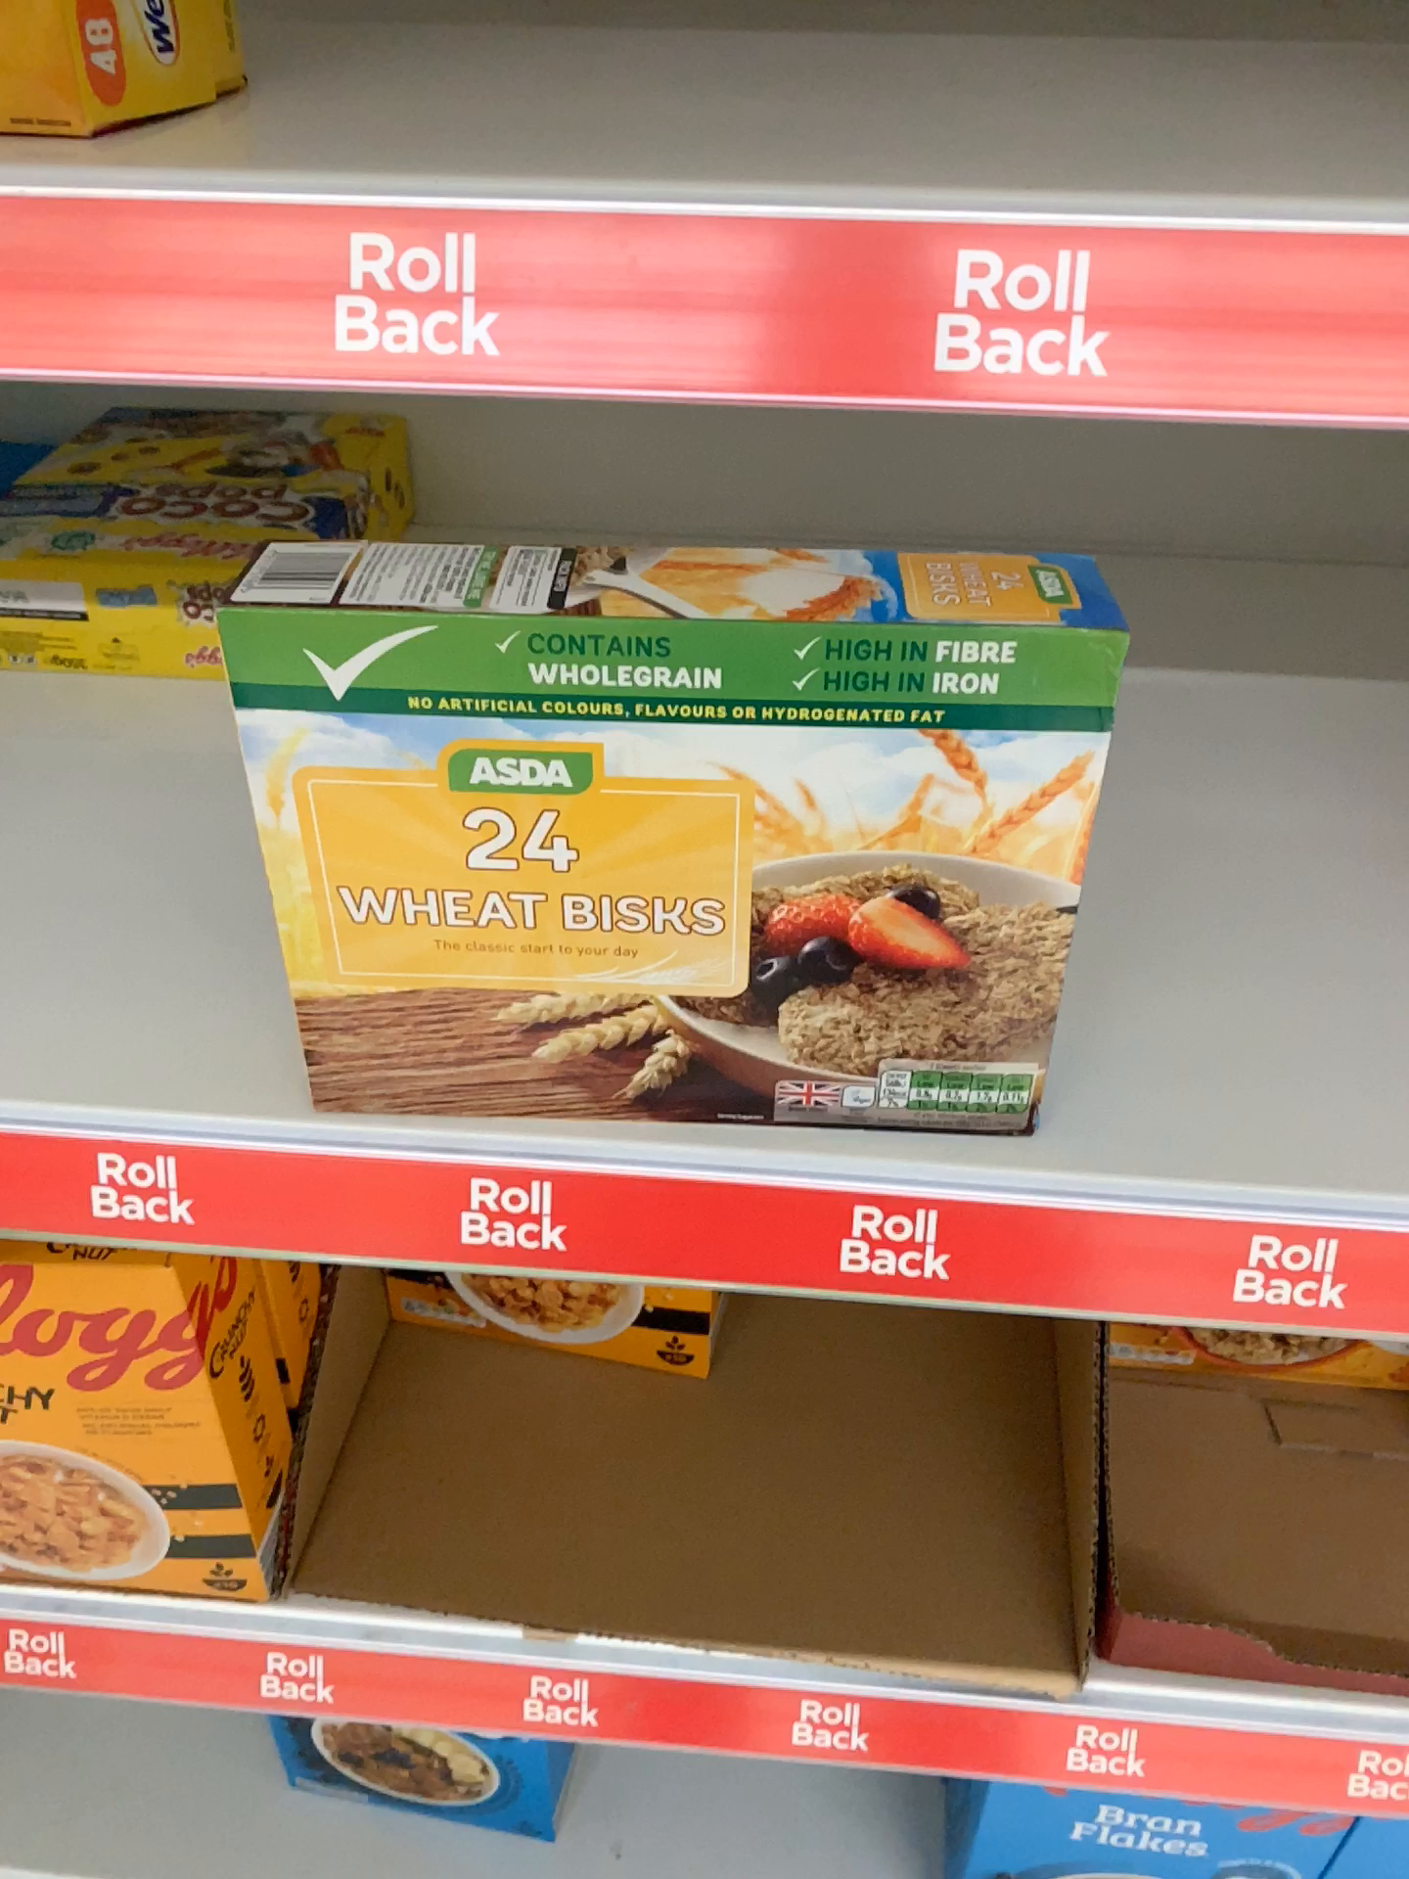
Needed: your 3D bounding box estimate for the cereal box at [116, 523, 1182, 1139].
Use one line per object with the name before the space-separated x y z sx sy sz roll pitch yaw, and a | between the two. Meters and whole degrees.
cereal box | -0.015 -0.027 0.444 0.270 0.178 0.061 1 37 1
